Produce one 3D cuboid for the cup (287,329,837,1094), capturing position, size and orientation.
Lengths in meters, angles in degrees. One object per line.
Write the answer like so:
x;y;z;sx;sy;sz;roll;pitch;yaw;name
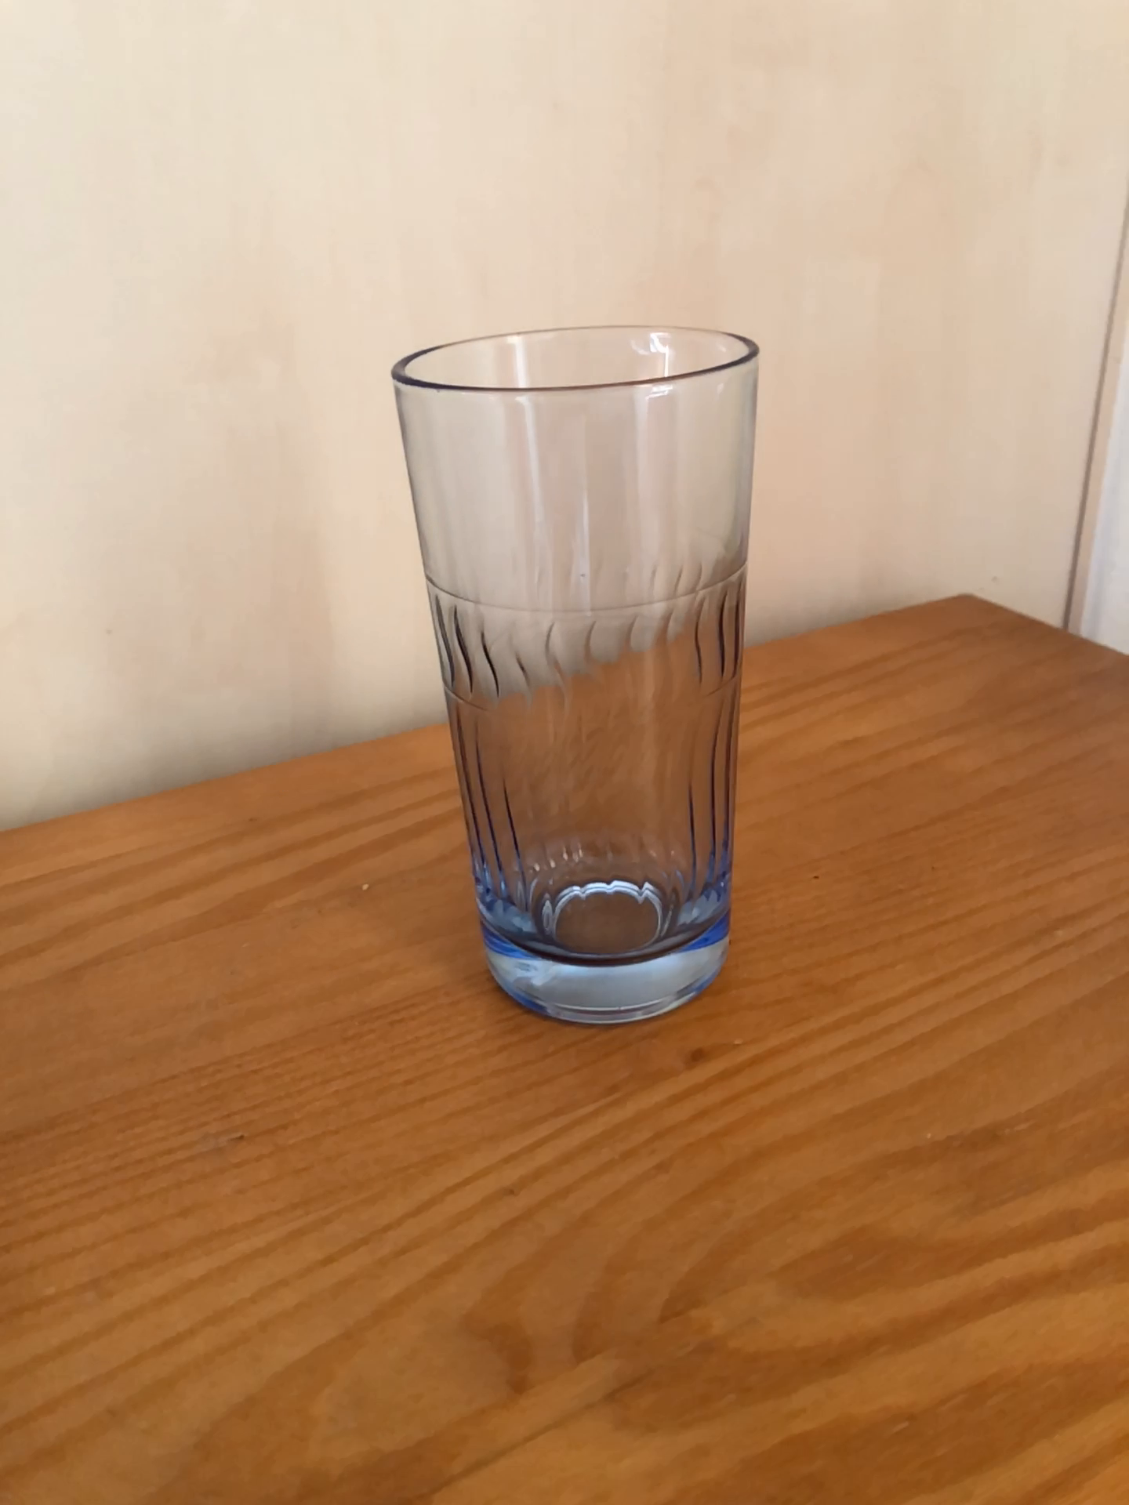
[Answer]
0.003;-0.014;0.260;0.075;0.129;0.071;-2;25;1;cup
